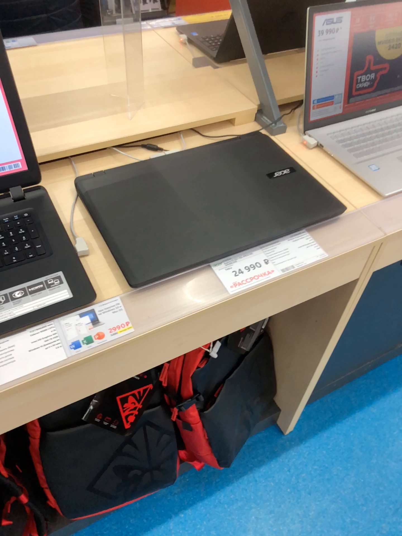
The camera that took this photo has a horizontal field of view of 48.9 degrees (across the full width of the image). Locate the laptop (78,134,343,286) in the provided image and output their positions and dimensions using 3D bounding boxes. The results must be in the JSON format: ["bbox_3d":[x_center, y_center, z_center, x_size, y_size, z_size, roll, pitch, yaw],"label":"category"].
[{"bbox_3d":[0.015,-0.133,0.812,0.410,0.005,0.278,-19,52,-21],"label":"laptop"}]
